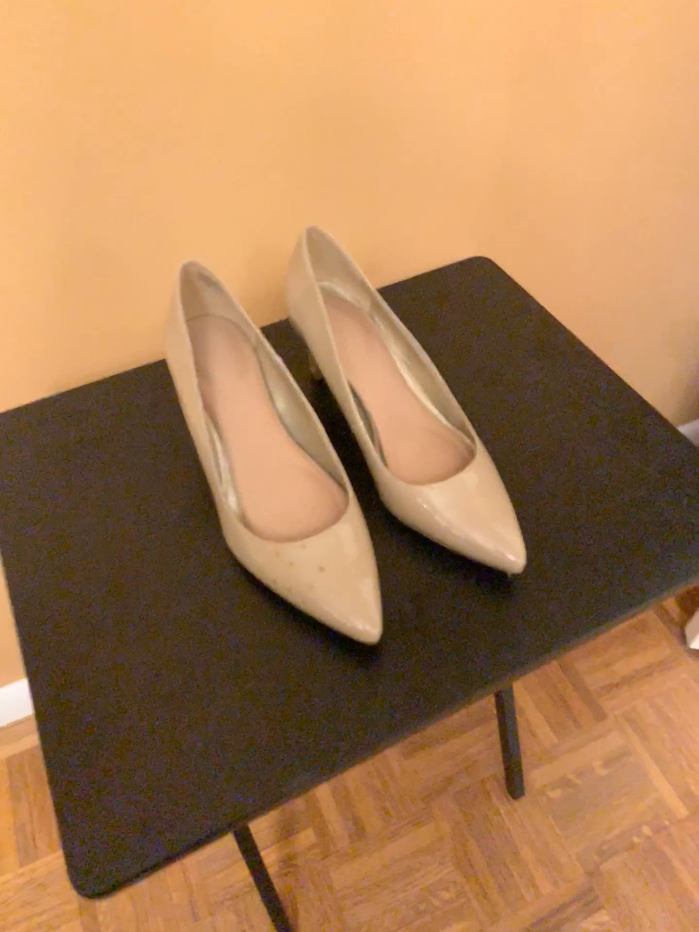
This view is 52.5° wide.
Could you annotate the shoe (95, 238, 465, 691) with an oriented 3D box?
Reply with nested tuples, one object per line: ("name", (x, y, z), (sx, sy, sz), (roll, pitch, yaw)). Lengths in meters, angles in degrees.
("shoe", (-0.059, -0.023, 0.460), (0.100, 0.090, 0.301), (-24, 53, -18))

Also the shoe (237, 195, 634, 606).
("shoe", (0.036, -0.064, 0.487), (0.100, 0.090, 0.301), (-24, 53, -18))
